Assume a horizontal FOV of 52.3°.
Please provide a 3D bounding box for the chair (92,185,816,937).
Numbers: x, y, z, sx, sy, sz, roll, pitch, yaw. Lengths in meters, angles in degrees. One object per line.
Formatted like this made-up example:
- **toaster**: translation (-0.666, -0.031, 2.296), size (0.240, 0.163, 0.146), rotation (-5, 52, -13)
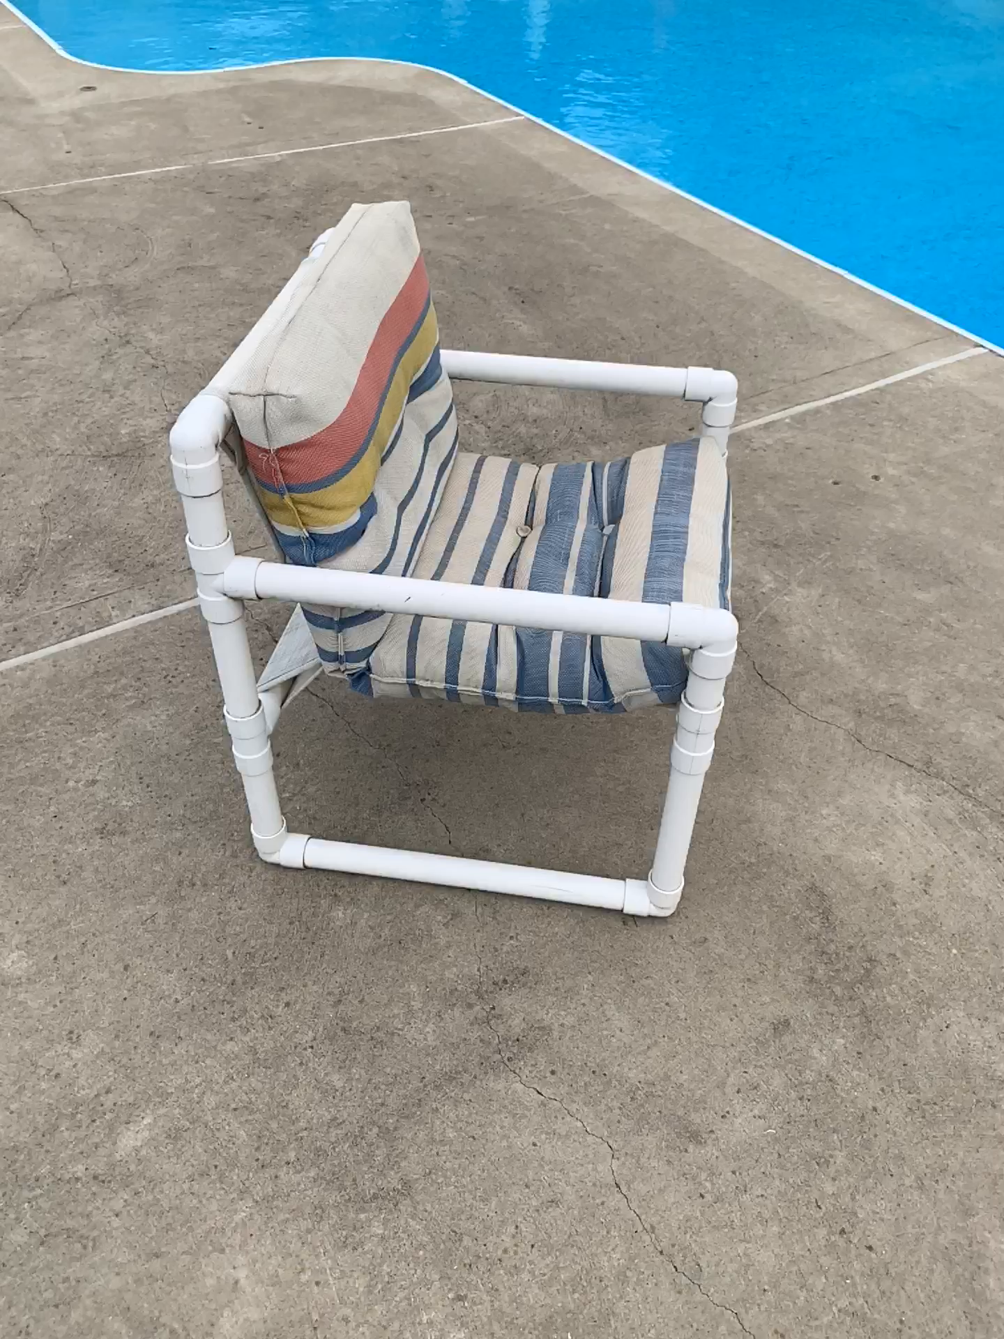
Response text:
- **chair**: translation (-0.011, -0.164, 1.395), size (0.670, 0.686, 0.654), rotation (8, 43, 6)
